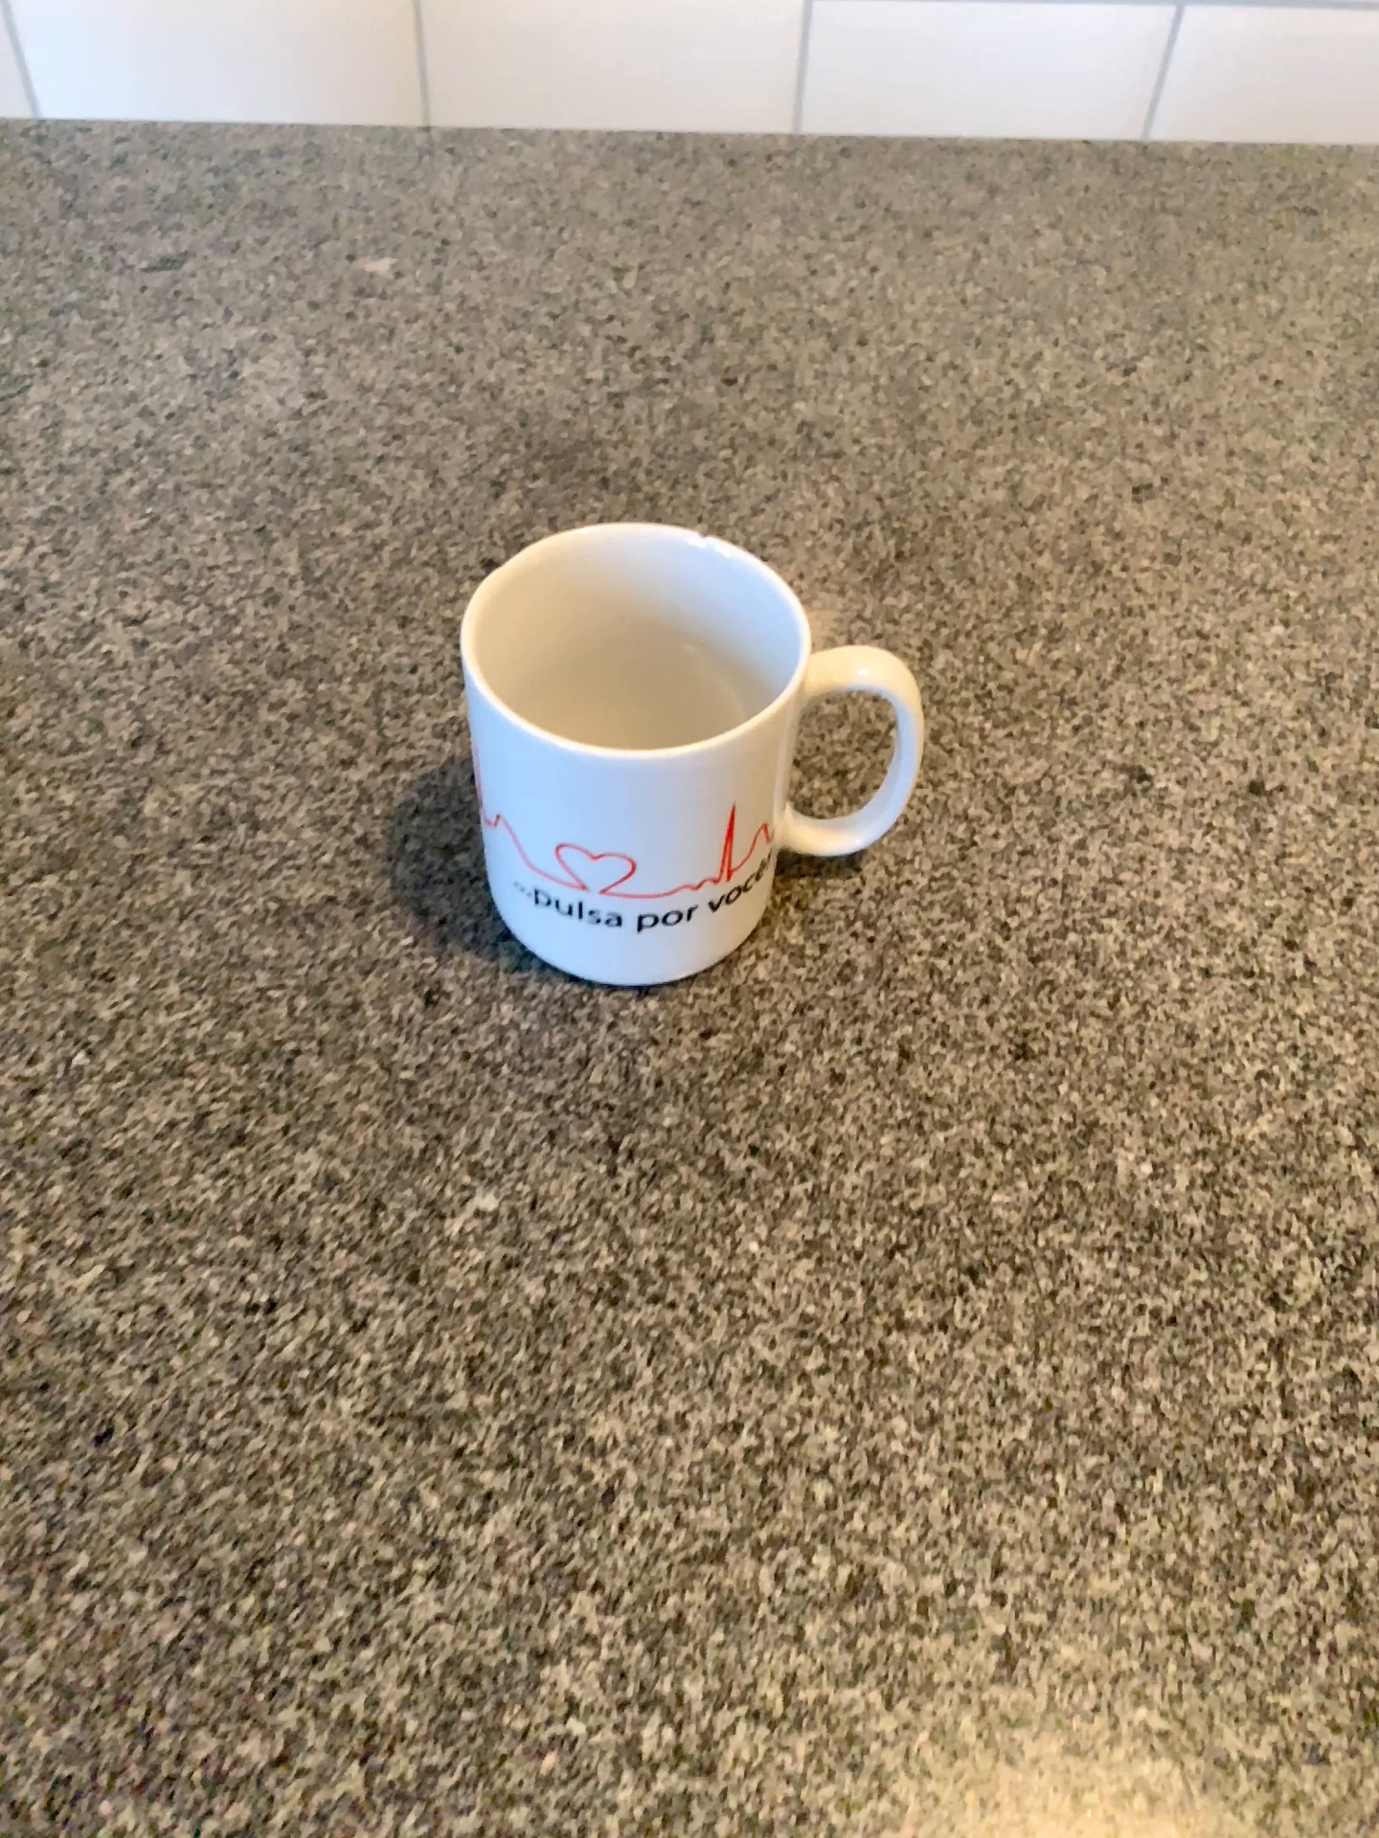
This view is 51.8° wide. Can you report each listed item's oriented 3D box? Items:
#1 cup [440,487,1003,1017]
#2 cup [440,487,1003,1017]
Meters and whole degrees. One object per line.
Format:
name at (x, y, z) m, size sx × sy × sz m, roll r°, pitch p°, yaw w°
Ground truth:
cup at (0.002, -0.042, 0.368) m, size 0.120 × 0.100 × 0.090 m, roll -2°, pitch 52°, yaw -5°
cup at (0.002, -0.042, 0.368) m, size 0.120 × 0.100 × 0.090 m, roll -2°, pitch 52°, yaw -5°
